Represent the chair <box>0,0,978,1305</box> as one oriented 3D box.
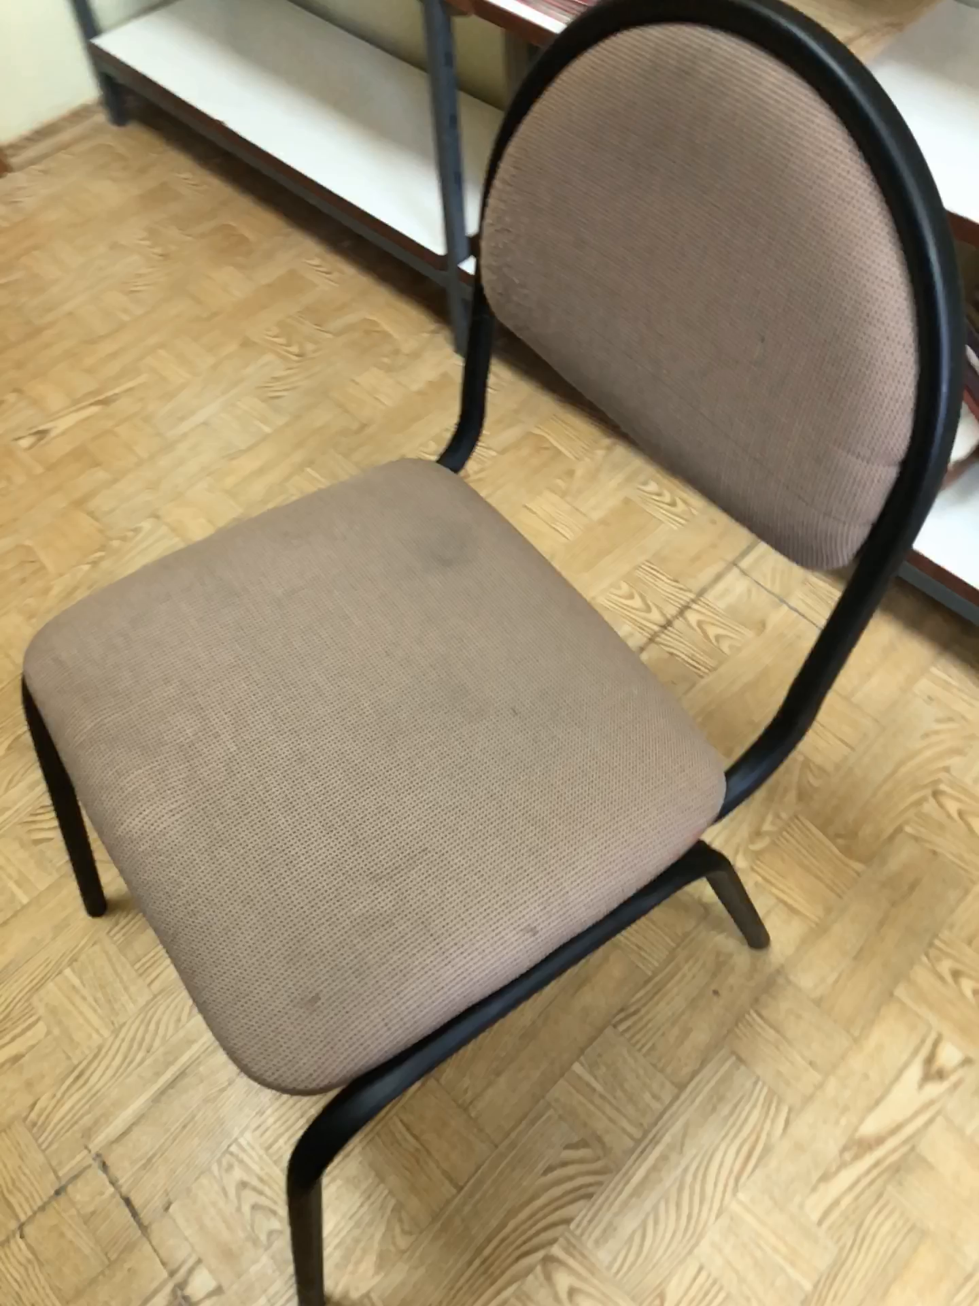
[{"bbox_3d":[-0.076,0.038,0.741,0.574,0.768,0.480,-32,60,-17],"label":"chair"}]
